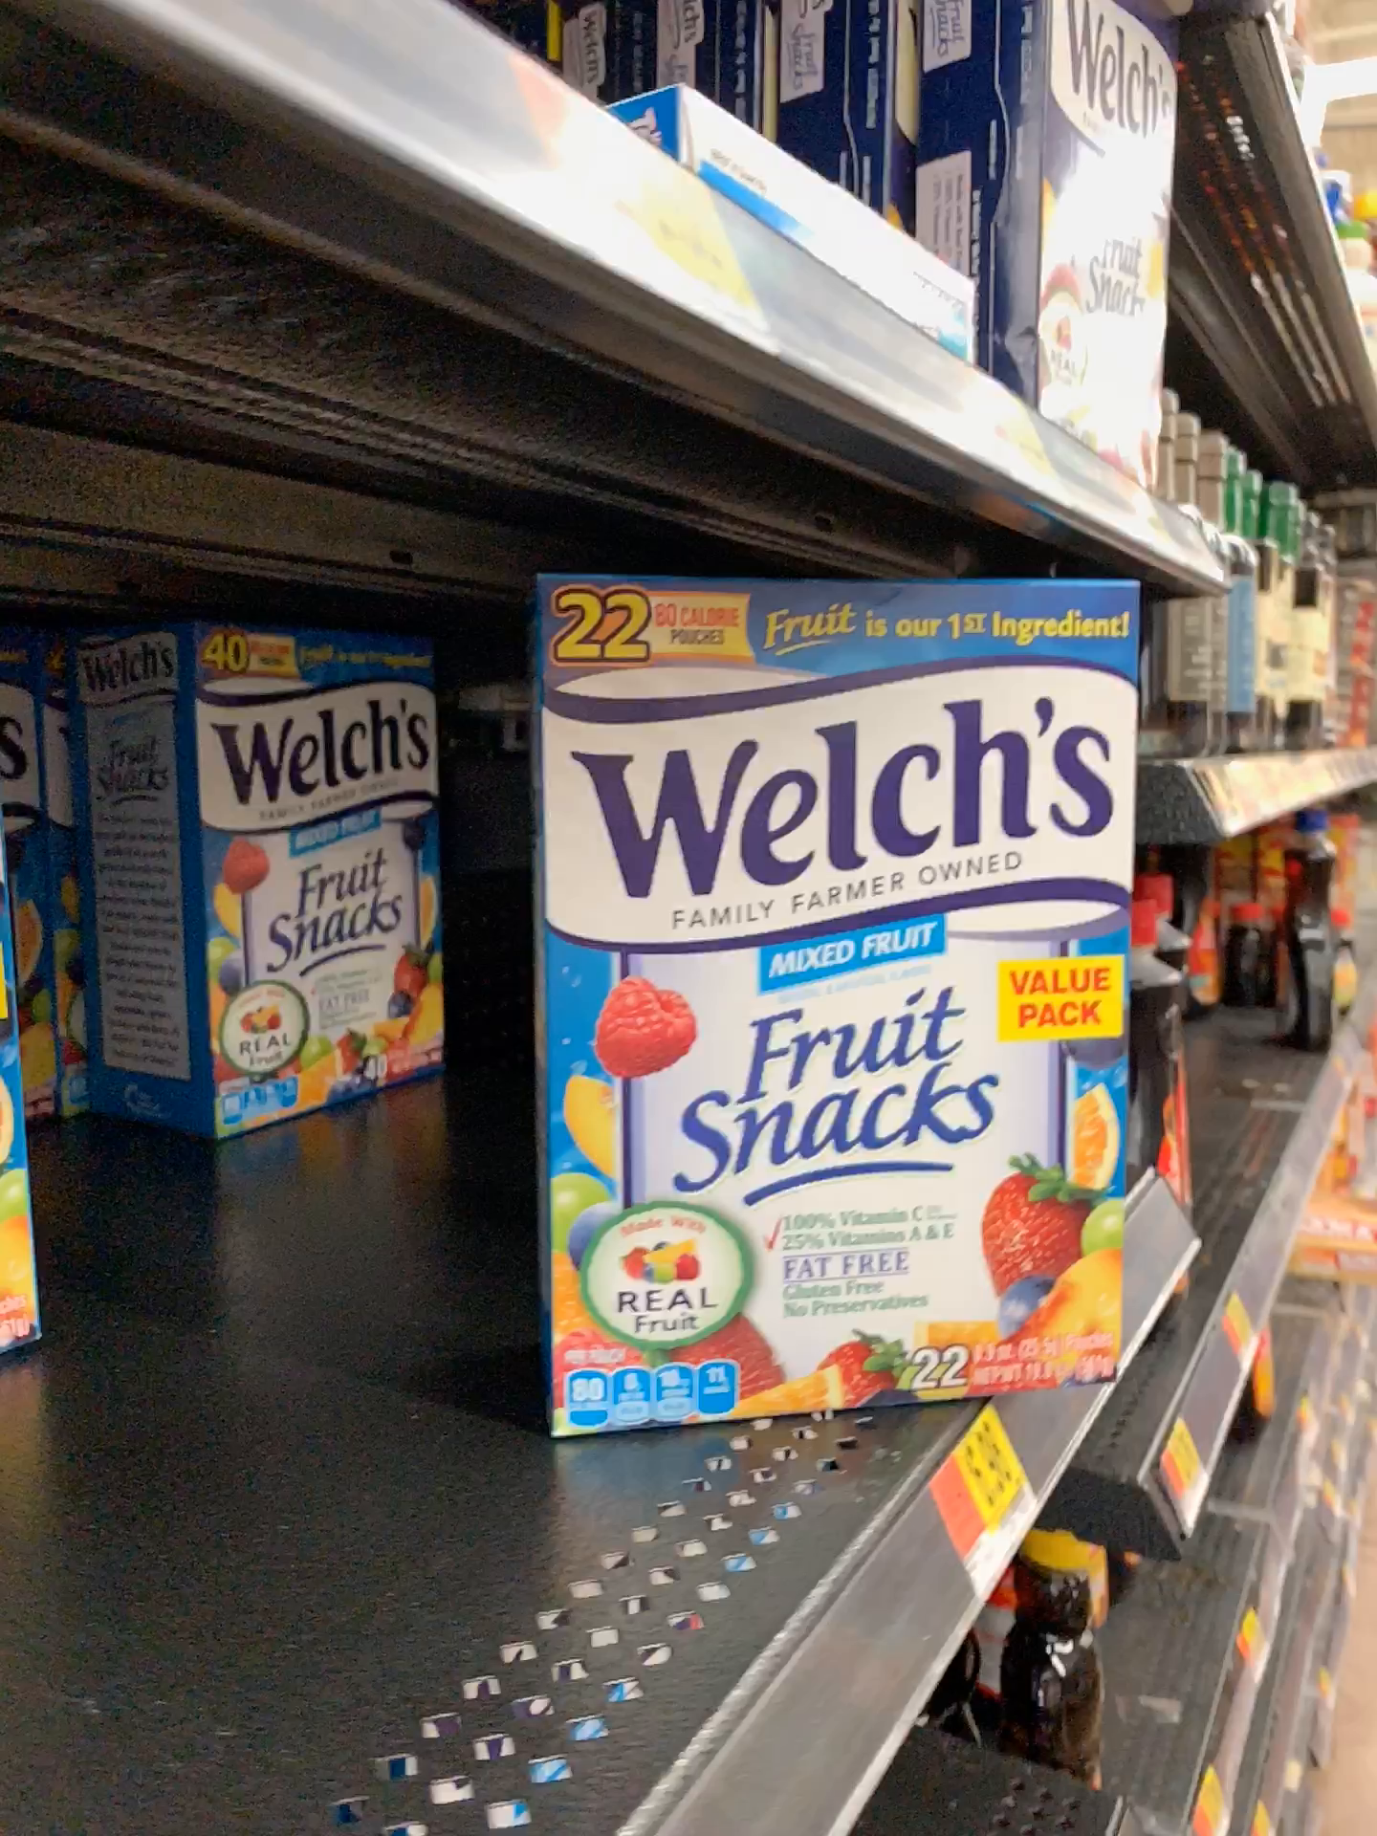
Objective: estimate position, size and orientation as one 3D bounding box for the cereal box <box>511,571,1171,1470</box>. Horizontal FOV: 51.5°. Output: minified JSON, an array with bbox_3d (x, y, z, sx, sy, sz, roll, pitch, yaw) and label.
[{"bbox_3d":[0.041,0.022,0.404,0.170,0.230,0.060,-3,6,-10],"label":"cereal box"}]
